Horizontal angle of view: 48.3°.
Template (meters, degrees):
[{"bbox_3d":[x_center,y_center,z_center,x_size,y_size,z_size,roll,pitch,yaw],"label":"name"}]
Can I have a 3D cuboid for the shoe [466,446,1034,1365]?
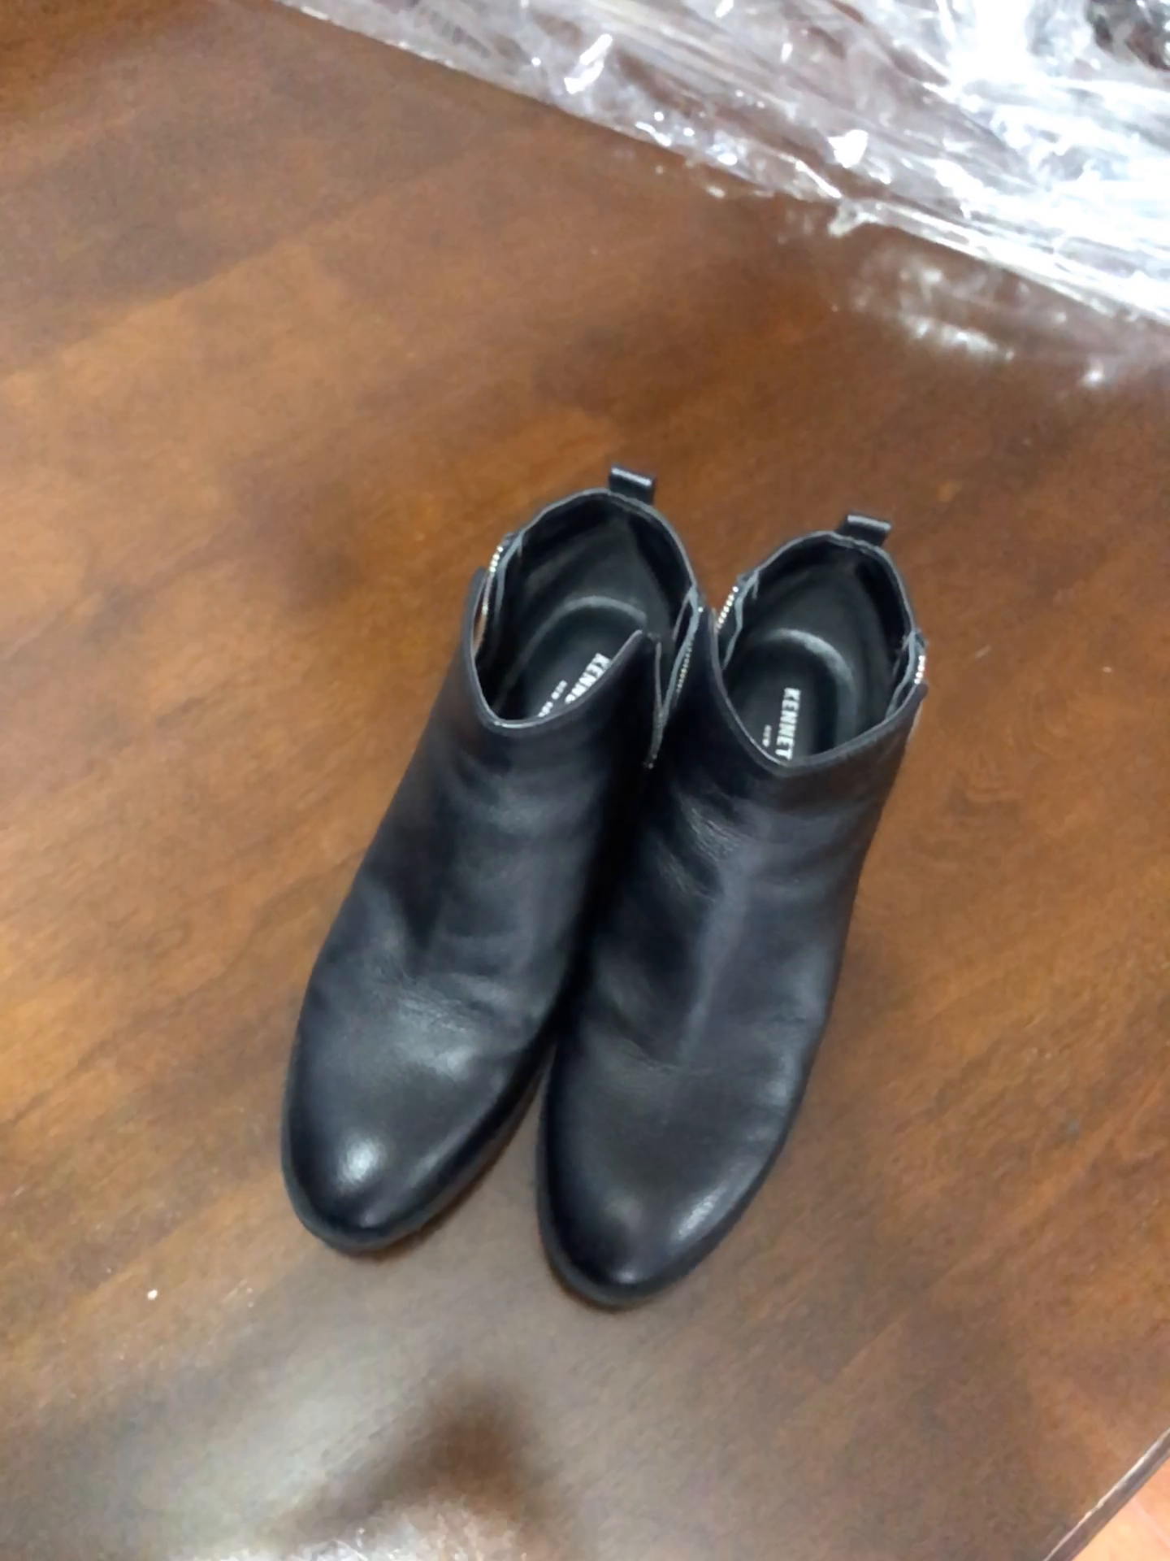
[{"bbox_3d":[0.056,0.041,0.437,0.100,0.130,0.260,18,65,5],"label":"shoe"}]

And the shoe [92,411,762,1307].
[{"bbox_3d":[-0.038,0.026,0.448,0.100,0.130,0.260,21,65,7],"label":"shoe"}]
